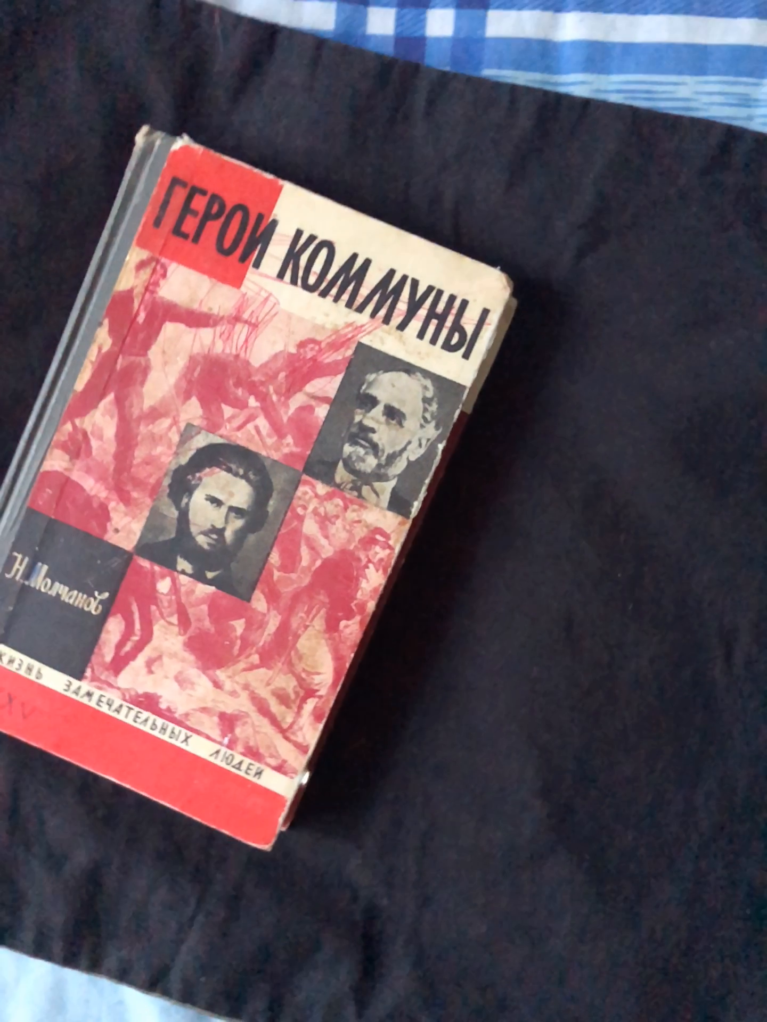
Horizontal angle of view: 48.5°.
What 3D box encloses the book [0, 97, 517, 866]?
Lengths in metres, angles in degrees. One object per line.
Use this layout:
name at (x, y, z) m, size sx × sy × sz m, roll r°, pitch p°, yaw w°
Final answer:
book at (-0.055, -0.009, 0.289) m, size 0.128 × 0.060 × 0.200 m, roll 23°, pitch 93°, yaw 4°
